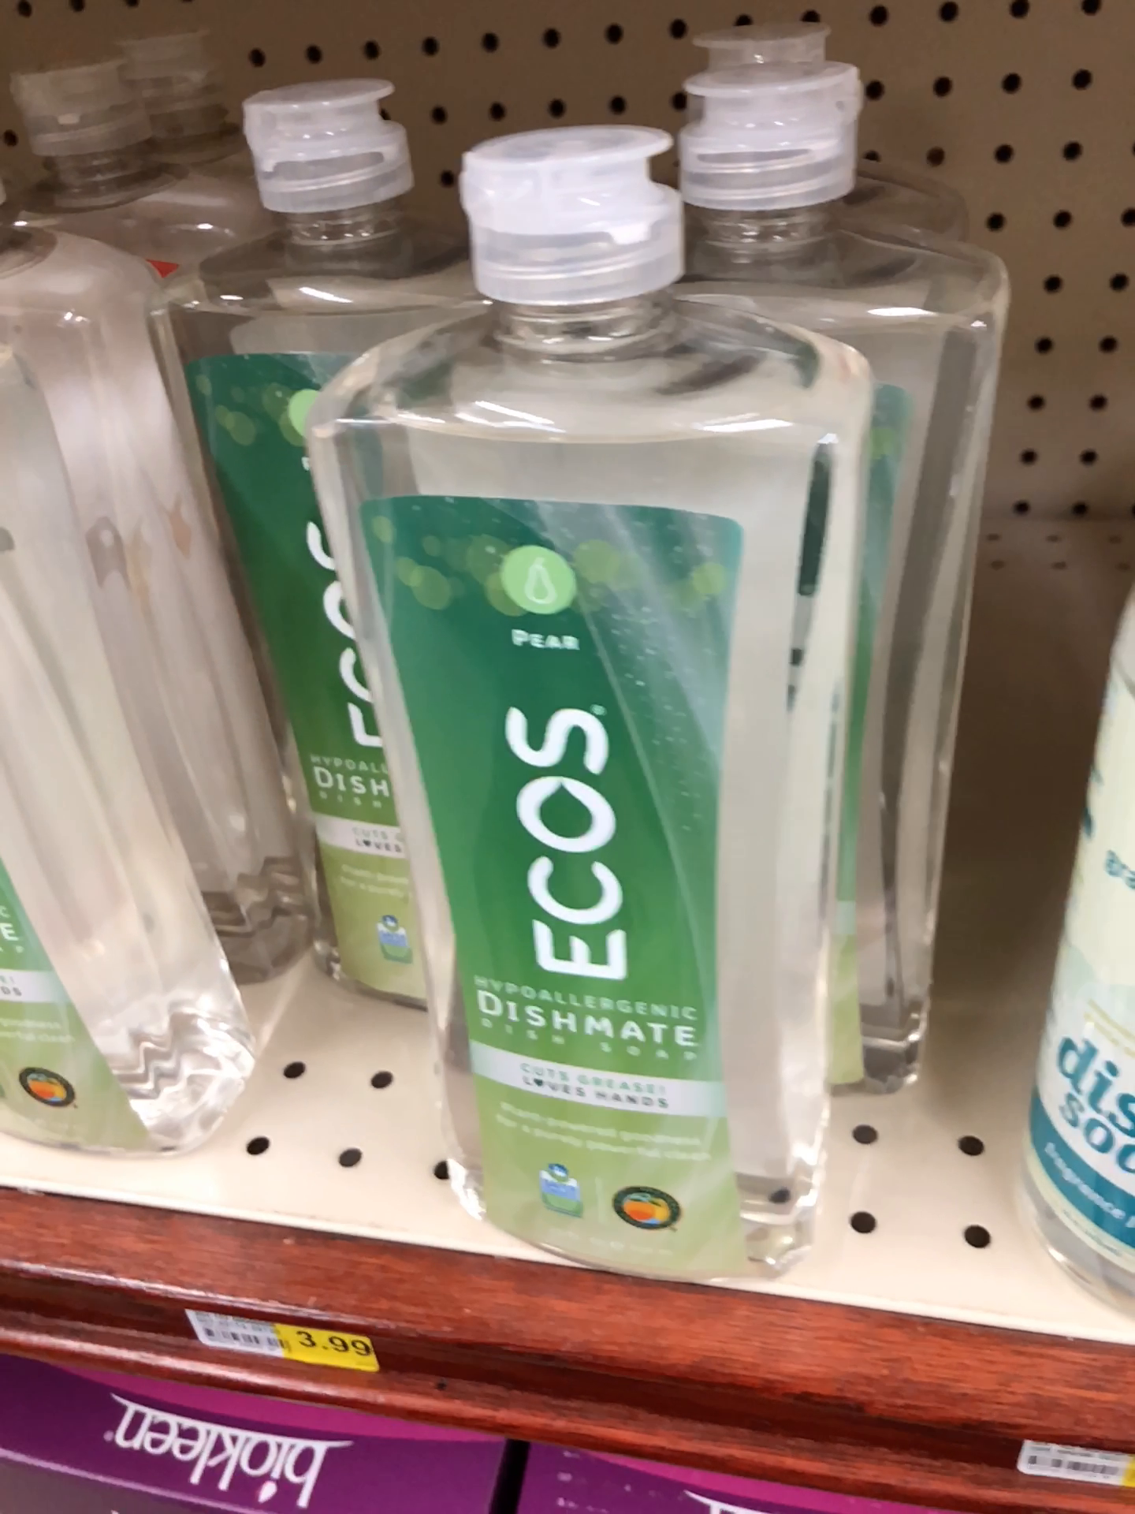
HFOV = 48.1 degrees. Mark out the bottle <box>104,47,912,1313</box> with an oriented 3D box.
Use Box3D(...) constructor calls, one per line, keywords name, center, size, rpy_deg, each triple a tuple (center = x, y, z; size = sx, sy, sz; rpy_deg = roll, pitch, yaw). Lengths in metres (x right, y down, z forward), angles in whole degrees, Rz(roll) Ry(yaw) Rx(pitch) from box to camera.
Box3D(name="bottle", center=(0.004, 0.007, 0.229), size=(0.092, 0.226, 0.050), rpy_deg=(6, 38, 15))
